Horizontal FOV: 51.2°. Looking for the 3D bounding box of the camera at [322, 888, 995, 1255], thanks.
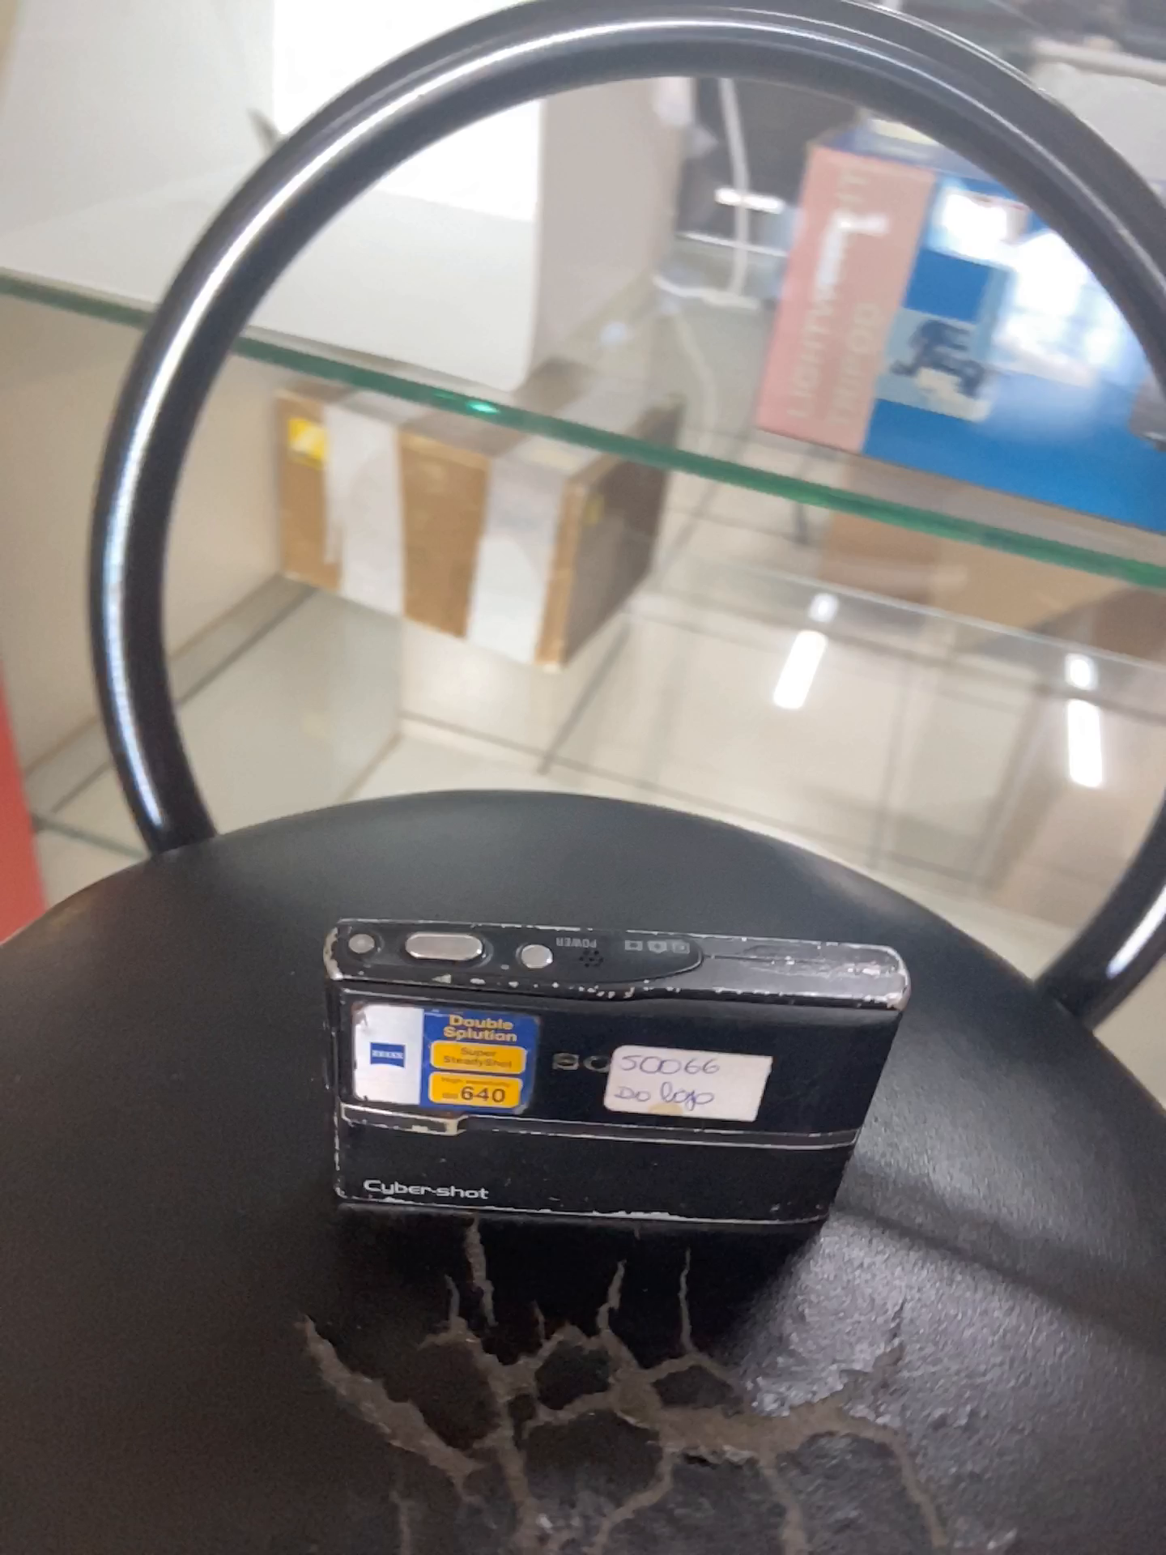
[{"bbox_3d":[0.009,0.051,0.204,0.100,0.060,0.020,5,36,-5],"label":"camera"}]
